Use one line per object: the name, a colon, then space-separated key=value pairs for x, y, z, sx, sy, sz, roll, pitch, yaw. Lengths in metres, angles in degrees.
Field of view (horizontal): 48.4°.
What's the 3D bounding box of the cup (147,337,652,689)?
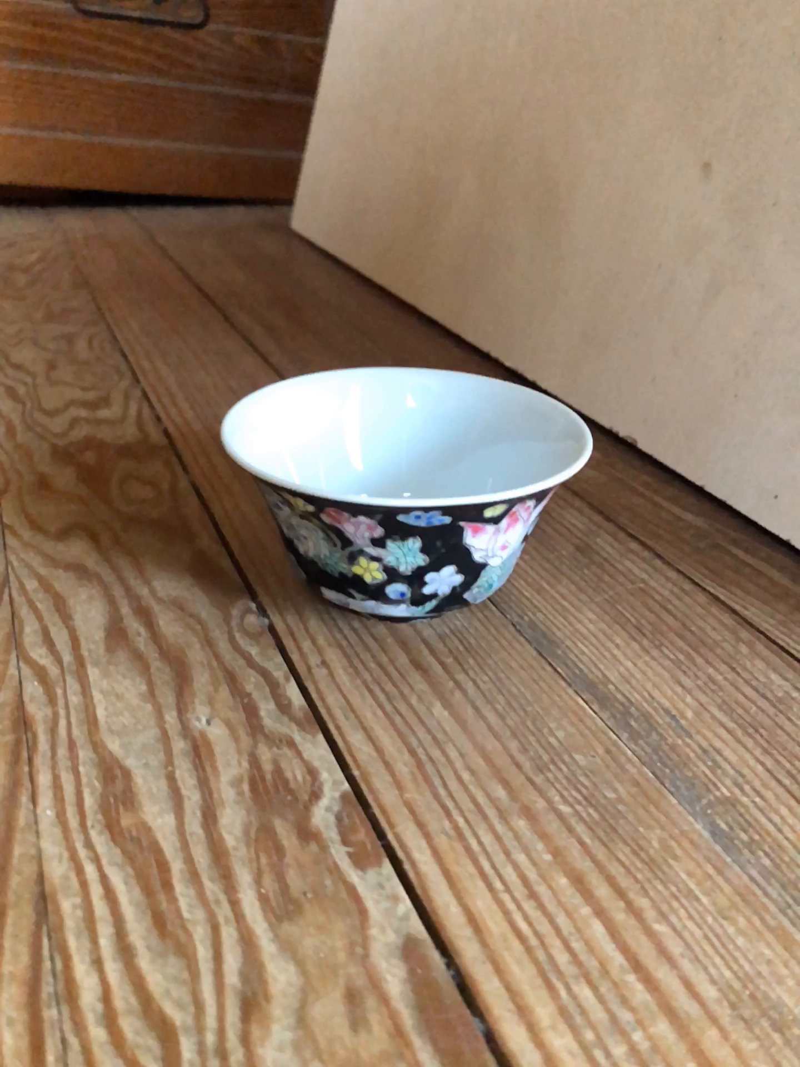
cup: x=0.004 y=-0.016 z=0.264 sx=0.110 sy=0.040 sz=0.101 roll=2 pitch=30 yaw=-1
